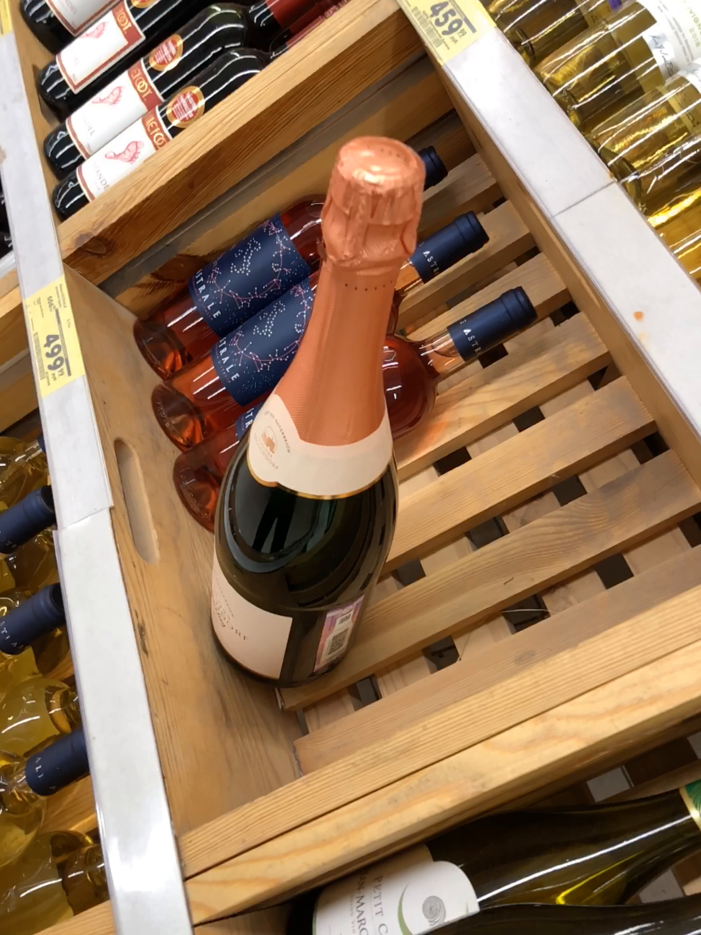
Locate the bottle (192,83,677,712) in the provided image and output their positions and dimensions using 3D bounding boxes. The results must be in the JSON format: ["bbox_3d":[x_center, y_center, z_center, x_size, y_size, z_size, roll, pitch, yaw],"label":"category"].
[{"bbox_3d":[-0.002,0.001,0.414,0.110,0.359,0.120,8,54,-11],"label":"bottle"}]
